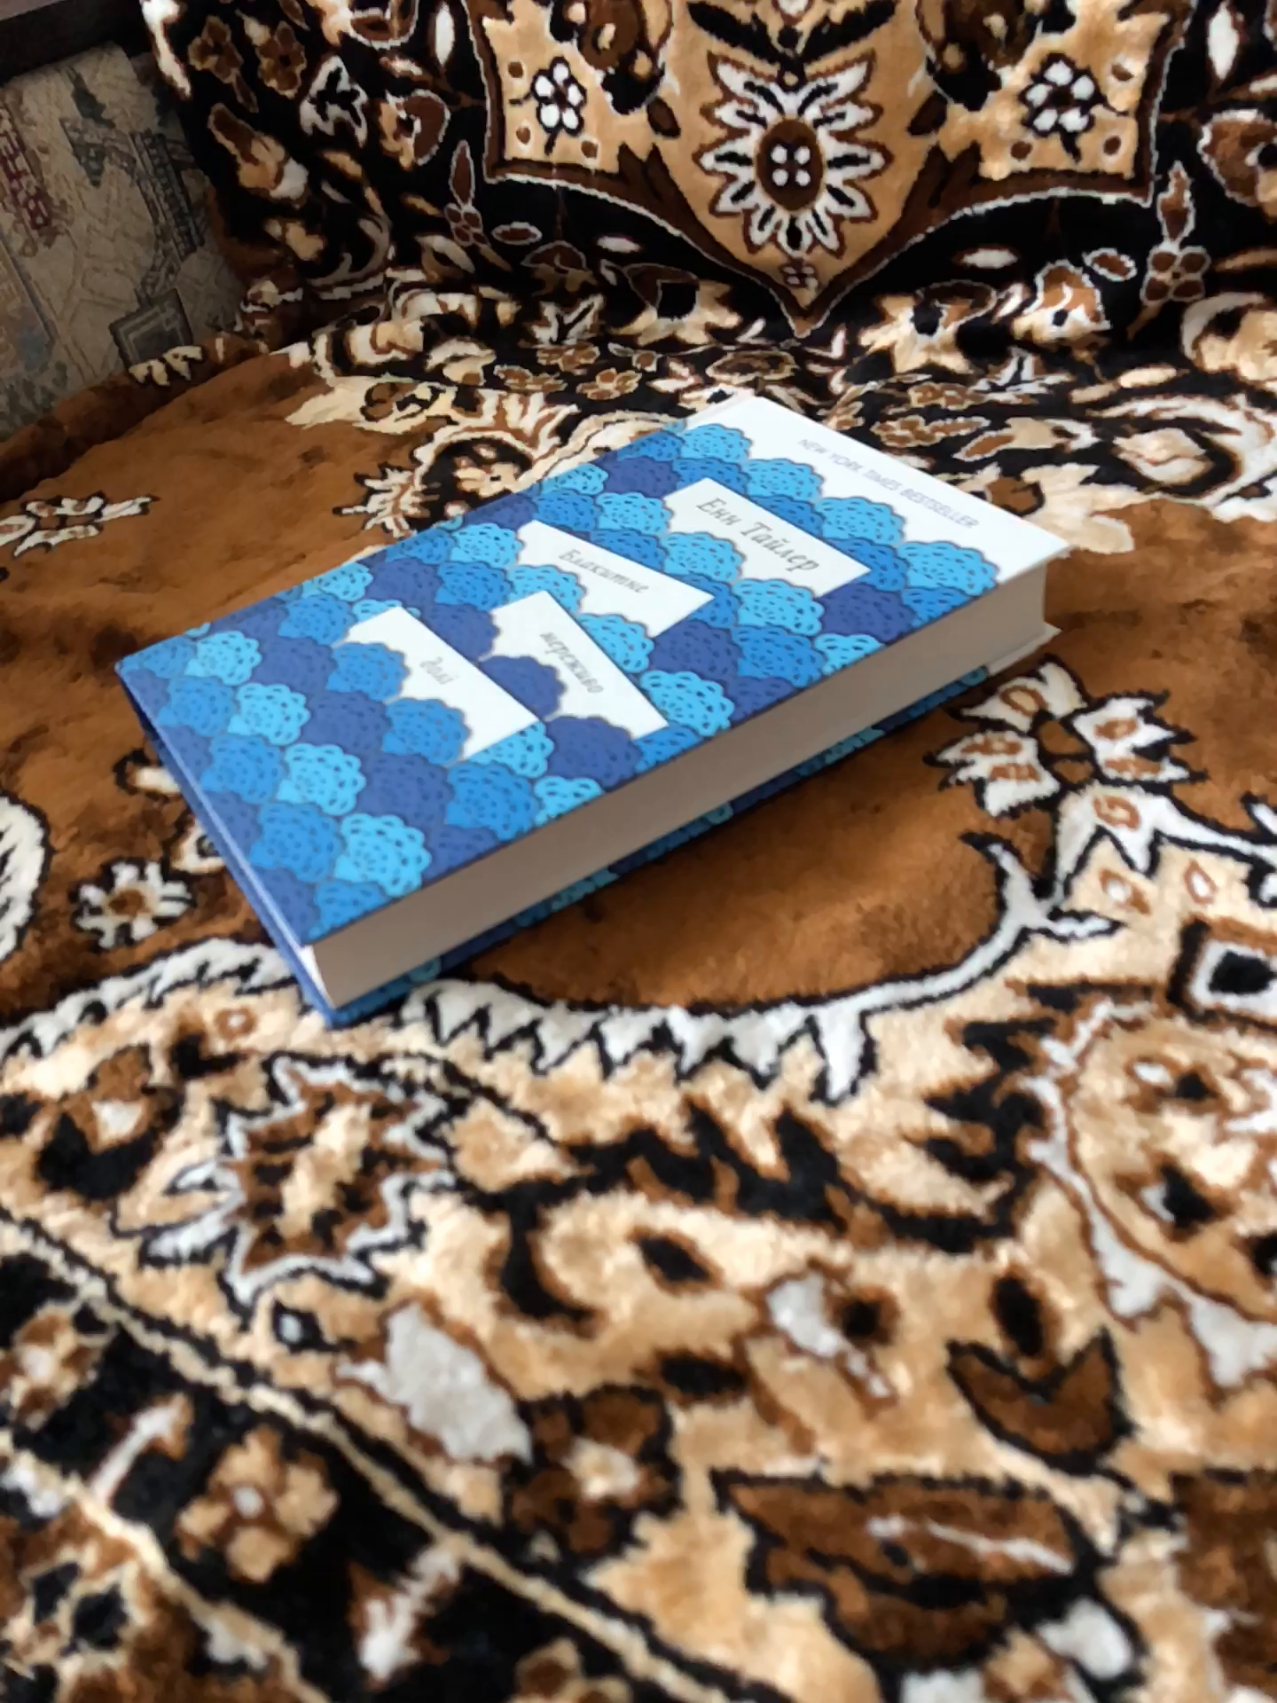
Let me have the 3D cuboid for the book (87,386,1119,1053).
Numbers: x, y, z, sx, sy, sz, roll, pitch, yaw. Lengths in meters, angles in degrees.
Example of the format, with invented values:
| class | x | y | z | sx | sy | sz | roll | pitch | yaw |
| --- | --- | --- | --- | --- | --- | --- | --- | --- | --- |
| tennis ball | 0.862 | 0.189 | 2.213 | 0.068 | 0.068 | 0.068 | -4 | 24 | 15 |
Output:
| class | x | y | z | sx | sy | sz | roll | pitch | yaw |
| --- | --- | --- | --- | --- | --- | --- | --- | --- | --- |
| book | -0.013 | -0.056 | 0.382 | 0.233 | 0.030 | 0.155 | -27 | 43 | -20 |
